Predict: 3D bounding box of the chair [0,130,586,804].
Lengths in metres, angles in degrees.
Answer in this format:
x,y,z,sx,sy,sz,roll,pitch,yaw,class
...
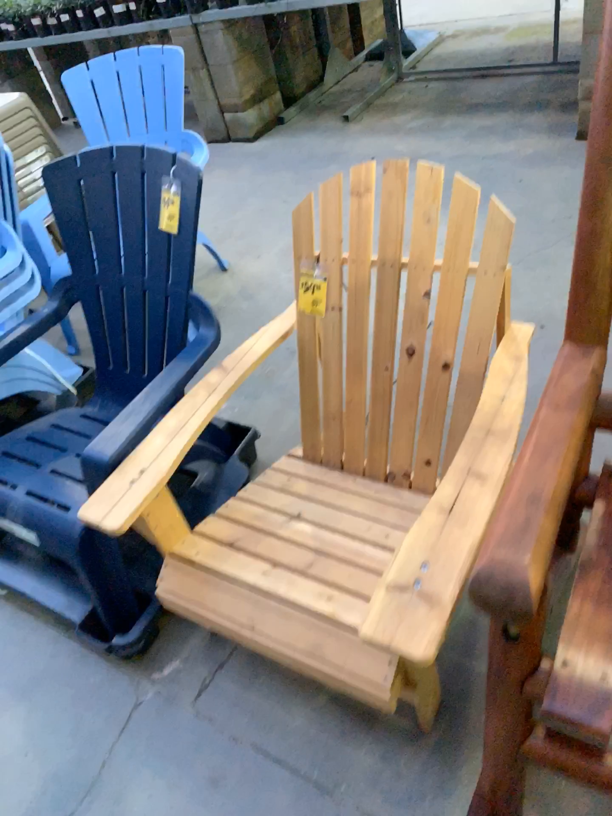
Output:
x,y,z,sx,sy,sz,roll,pitch,yaw,class
0.071,0.059,1.315,0.729,0.886,0.894,12,49,29,chair
